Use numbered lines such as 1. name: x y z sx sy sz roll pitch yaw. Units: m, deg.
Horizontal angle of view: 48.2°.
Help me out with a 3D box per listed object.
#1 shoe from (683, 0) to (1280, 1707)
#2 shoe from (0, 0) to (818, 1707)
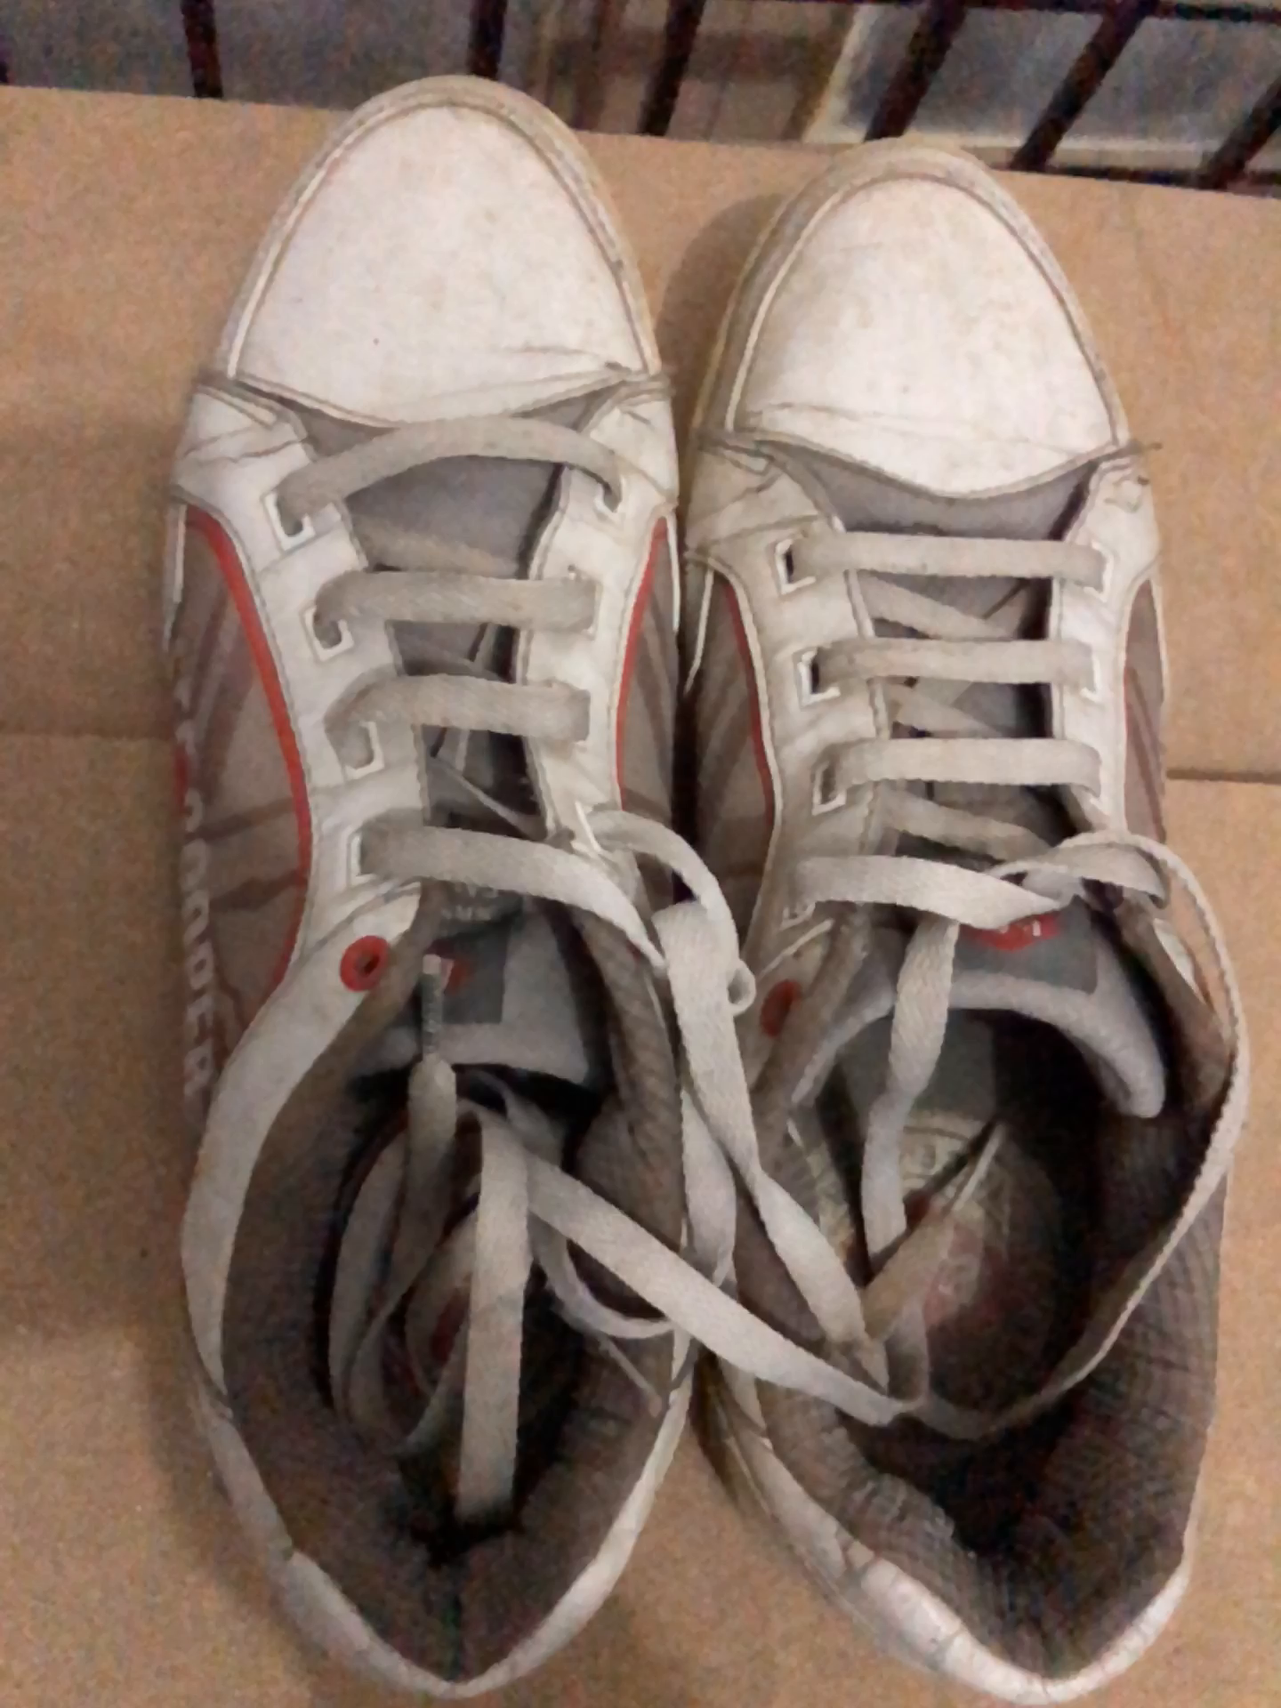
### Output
1. shoe: 0.069 -0.001 0.257 0.100 0.080 0.270 1 77 -11
2. shoe: -0.037 -0.010 0.237 0.100 0.080 0.270 1 77 -11
